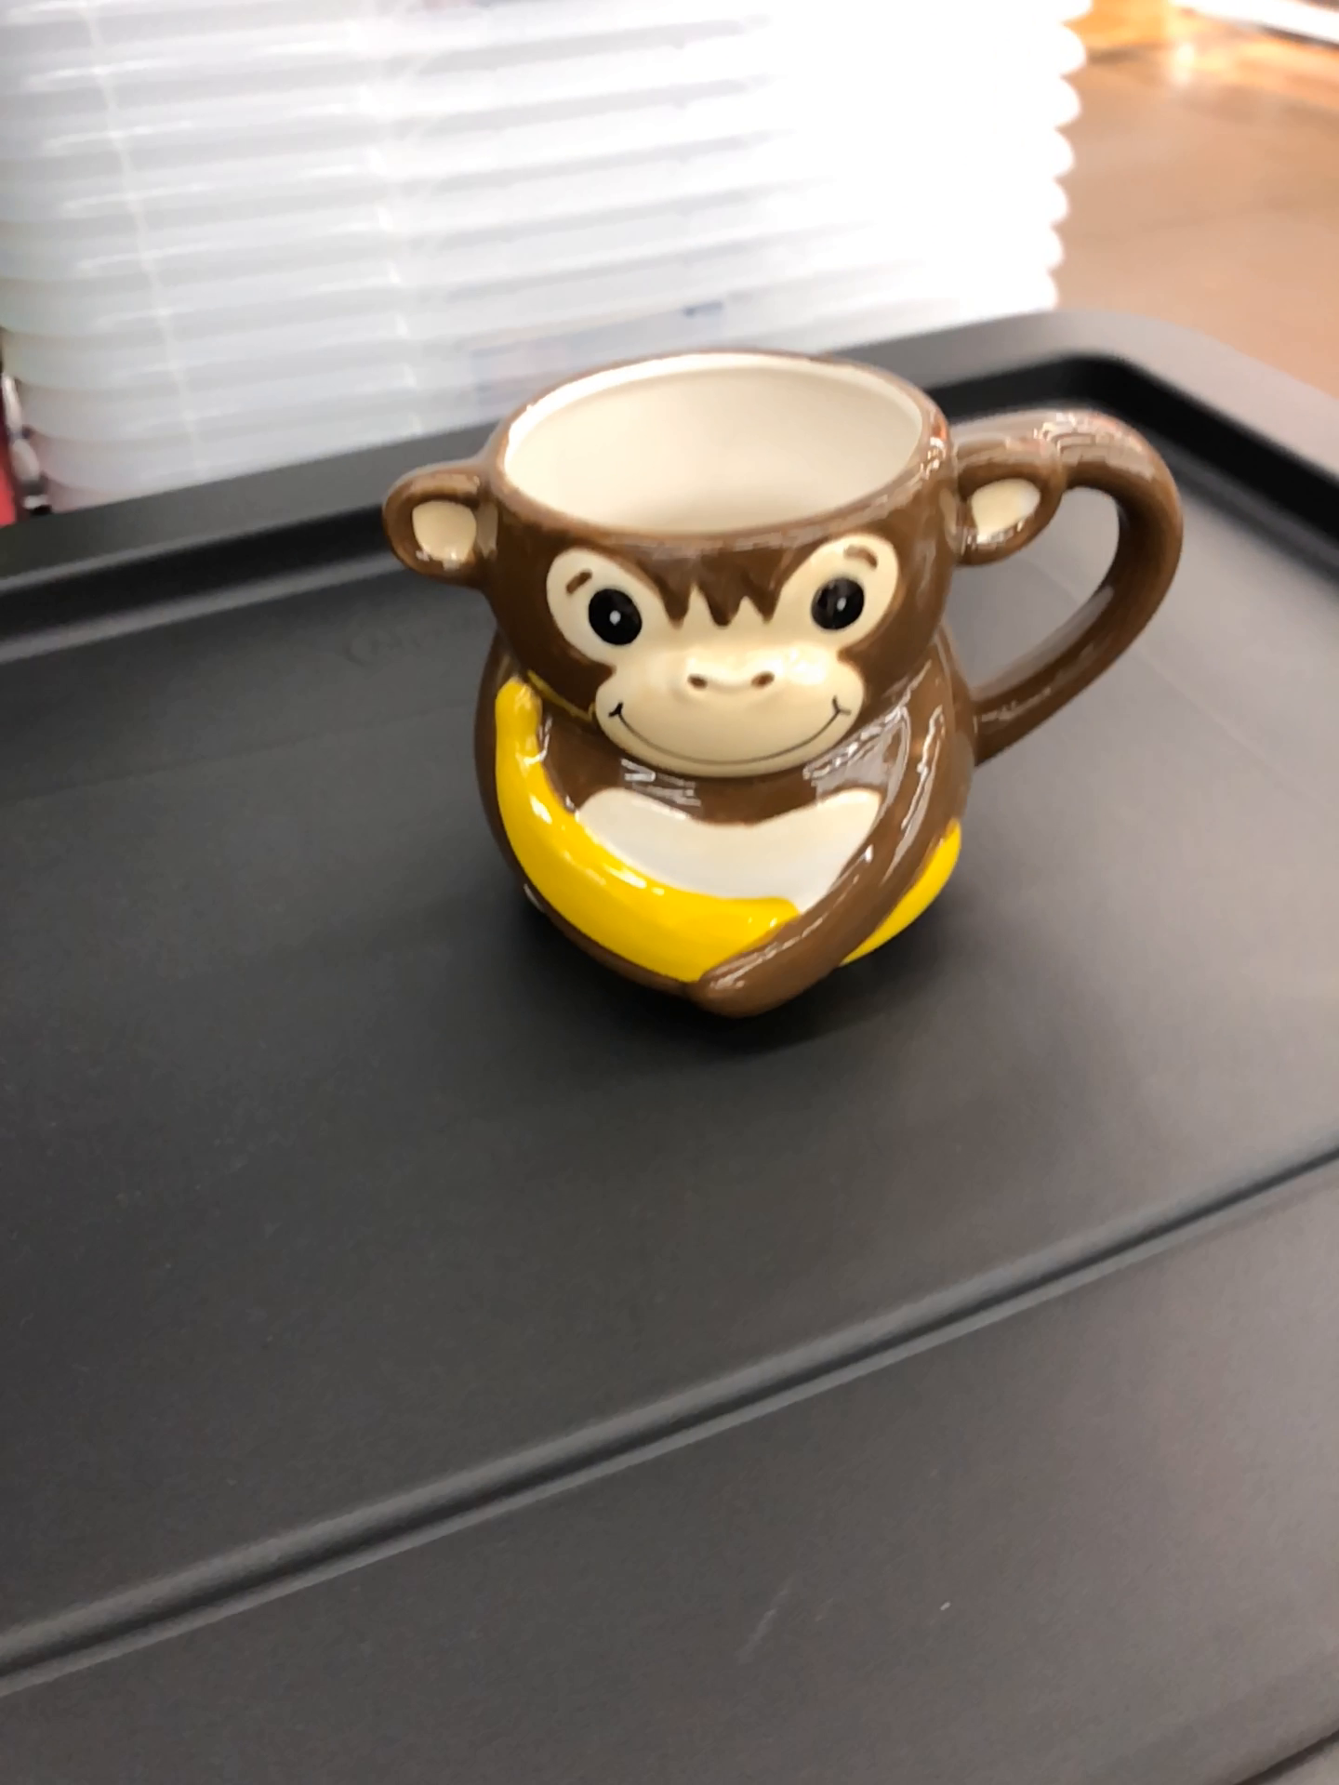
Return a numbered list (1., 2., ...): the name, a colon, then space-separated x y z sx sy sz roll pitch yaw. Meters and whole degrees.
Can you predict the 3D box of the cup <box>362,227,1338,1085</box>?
1. cup: 0.033 -0.051 0.283 0.160 0.100 0.110 -8 39 -7
